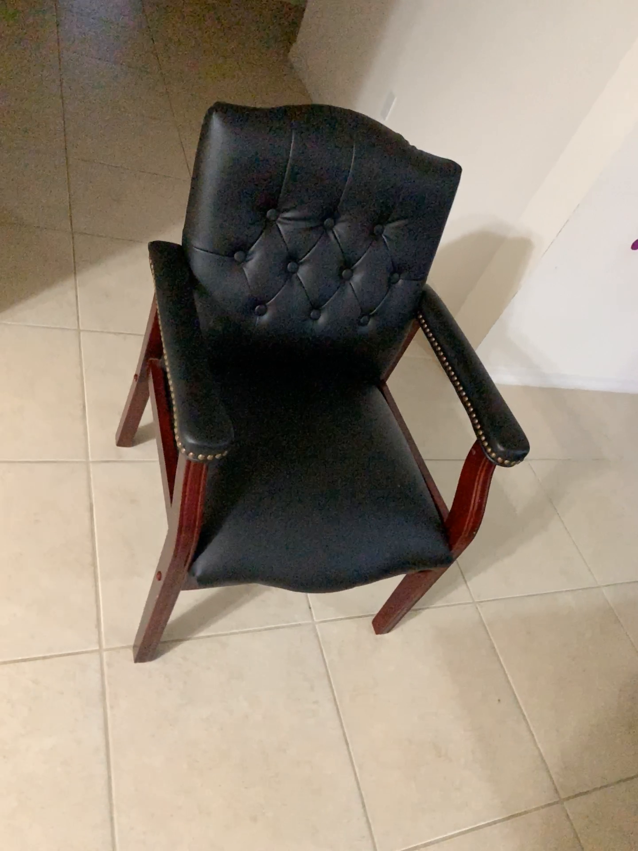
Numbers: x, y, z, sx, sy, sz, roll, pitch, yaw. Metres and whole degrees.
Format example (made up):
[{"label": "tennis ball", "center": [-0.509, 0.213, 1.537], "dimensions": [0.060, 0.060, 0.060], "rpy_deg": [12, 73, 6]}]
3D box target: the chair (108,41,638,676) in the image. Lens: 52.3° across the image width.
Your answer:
[{"label": "chair", "center": [-0.004, -0.055, 1.278], "dimensions": [0.633, 0.908, 0.659], "rpy_deg": [2, 49, -26]}]
